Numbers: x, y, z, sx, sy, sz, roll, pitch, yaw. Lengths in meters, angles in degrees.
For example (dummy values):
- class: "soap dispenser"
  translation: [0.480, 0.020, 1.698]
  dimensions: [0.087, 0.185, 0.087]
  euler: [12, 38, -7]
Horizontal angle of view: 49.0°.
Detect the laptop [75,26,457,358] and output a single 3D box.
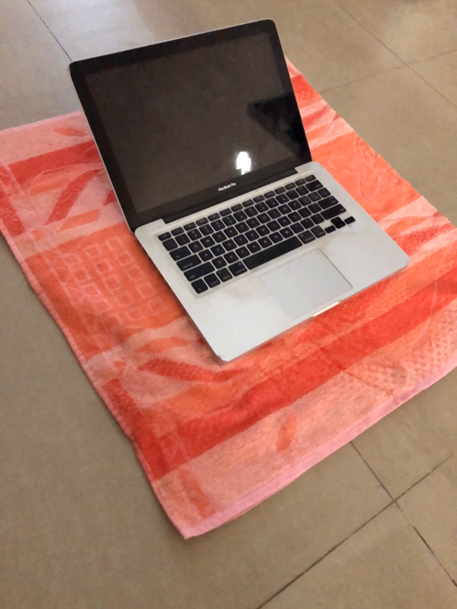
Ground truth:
- class: "laptop"
  translation: [0.032, -0.173, 0.654]
  dimensions: [0.310, 0.133, 0.373]
  euler: [-26, 65, -23]
